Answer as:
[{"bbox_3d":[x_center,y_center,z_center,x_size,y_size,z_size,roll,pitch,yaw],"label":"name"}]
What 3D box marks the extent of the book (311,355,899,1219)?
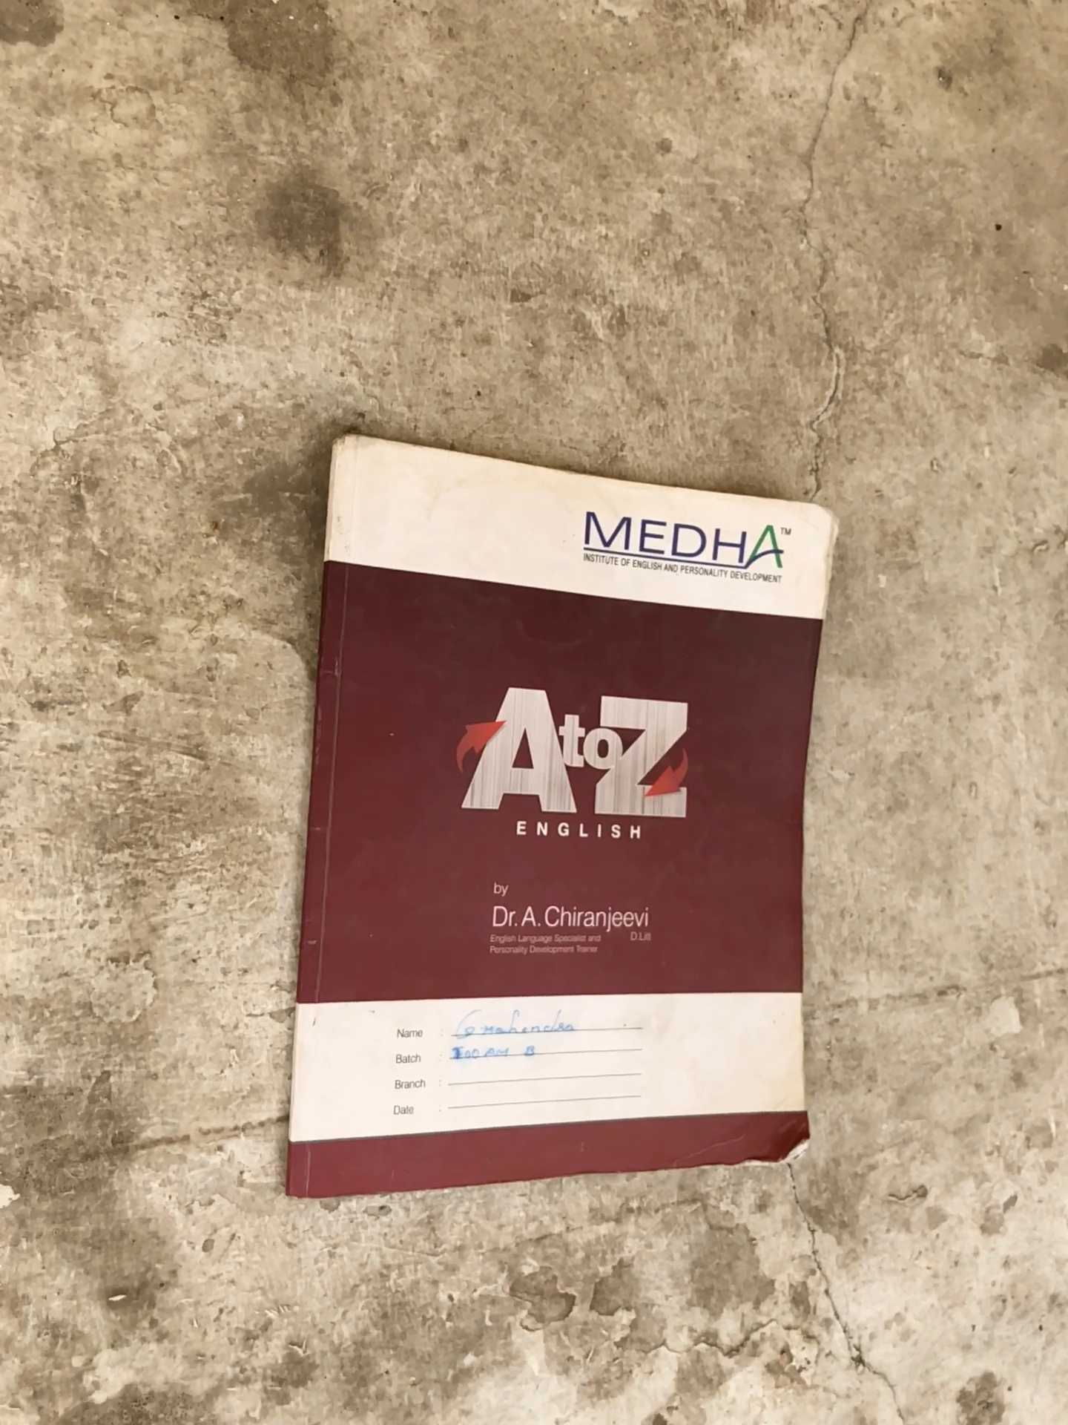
[{"bbox_3d":[0.037,0.028,0.441,0.220,0.030,0.280,4,84,-23],"label":"book"}]
